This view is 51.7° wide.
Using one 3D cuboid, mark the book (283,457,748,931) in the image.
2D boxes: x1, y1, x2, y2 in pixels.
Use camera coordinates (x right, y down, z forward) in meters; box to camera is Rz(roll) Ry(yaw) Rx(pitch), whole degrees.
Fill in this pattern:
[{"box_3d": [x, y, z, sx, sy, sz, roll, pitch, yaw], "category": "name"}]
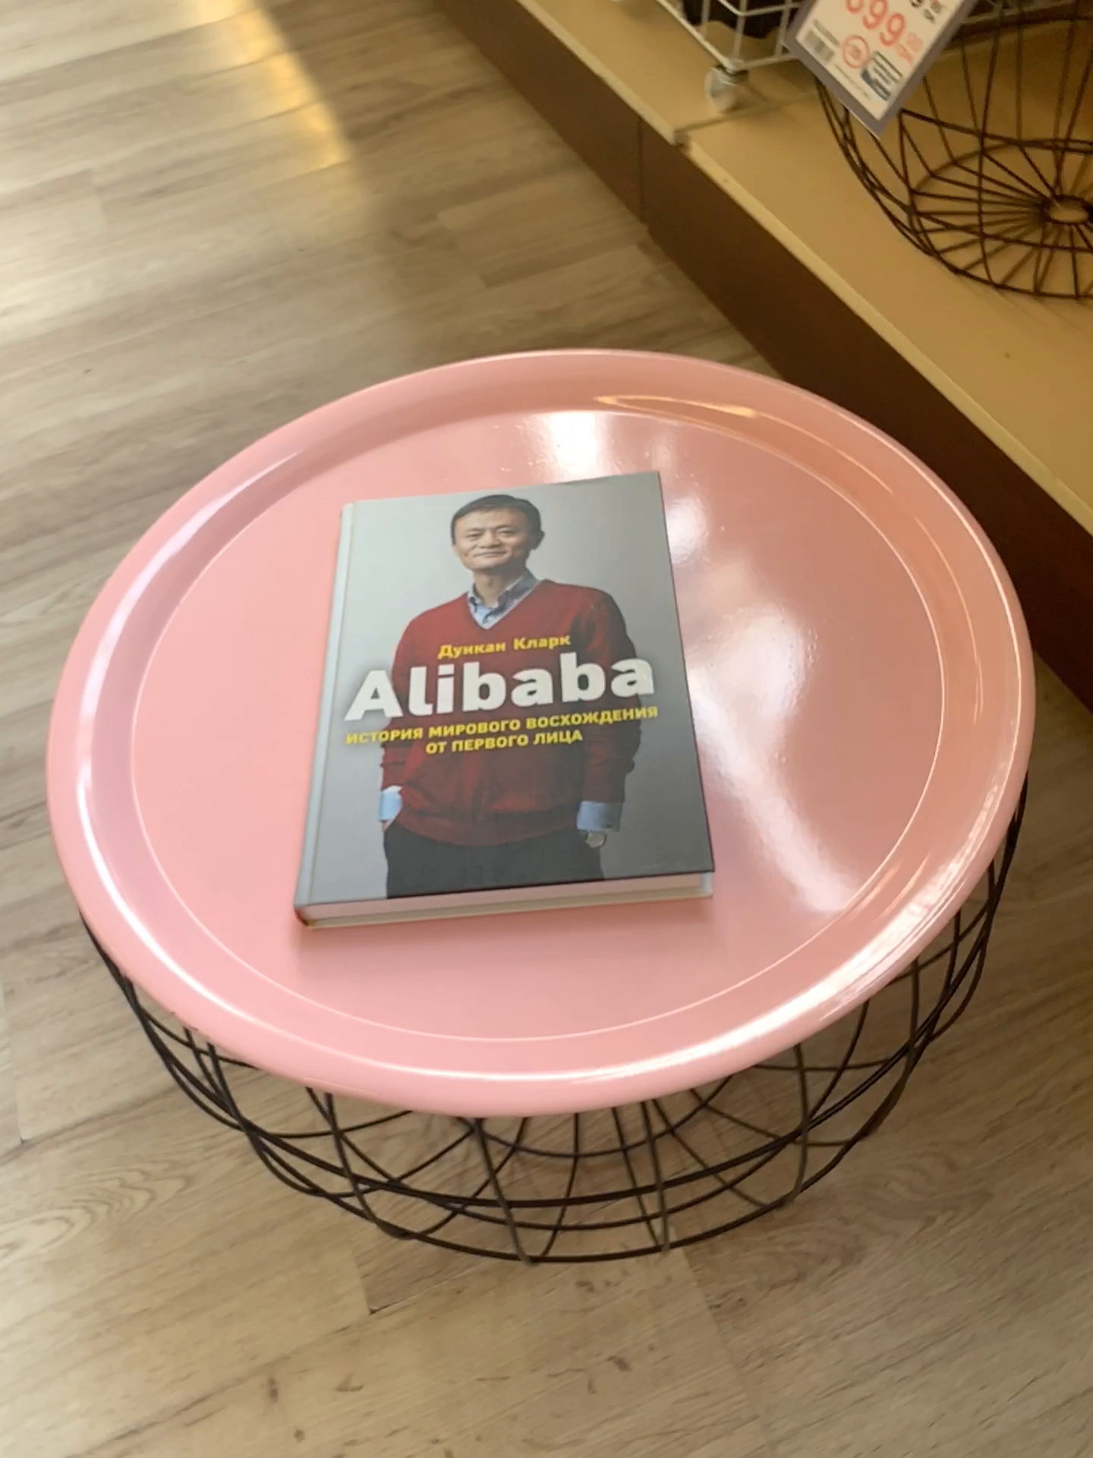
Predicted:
[{"box_3d": [-0.014, -0.028, 0.516, 0.180, 0.026, 0.241, -4, 53, 4], "category": "book"}]
